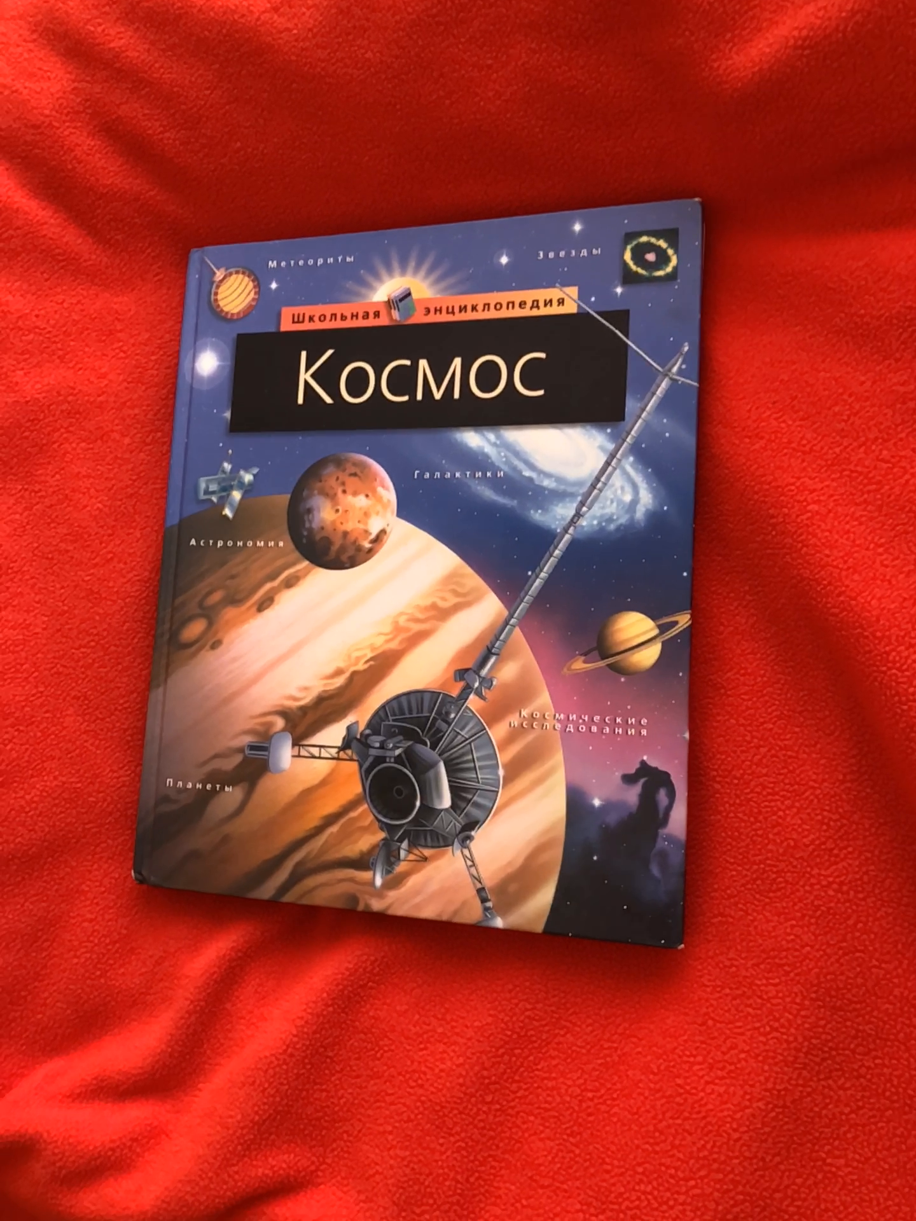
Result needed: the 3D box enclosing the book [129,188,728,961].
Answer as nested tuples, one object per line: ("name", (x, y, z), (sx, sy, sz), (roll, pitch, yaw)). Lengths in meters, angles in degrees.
("book", (-0.014, -0.019, 0.416), (0.235, 0.030, 0.284), (1, 84, 17))
